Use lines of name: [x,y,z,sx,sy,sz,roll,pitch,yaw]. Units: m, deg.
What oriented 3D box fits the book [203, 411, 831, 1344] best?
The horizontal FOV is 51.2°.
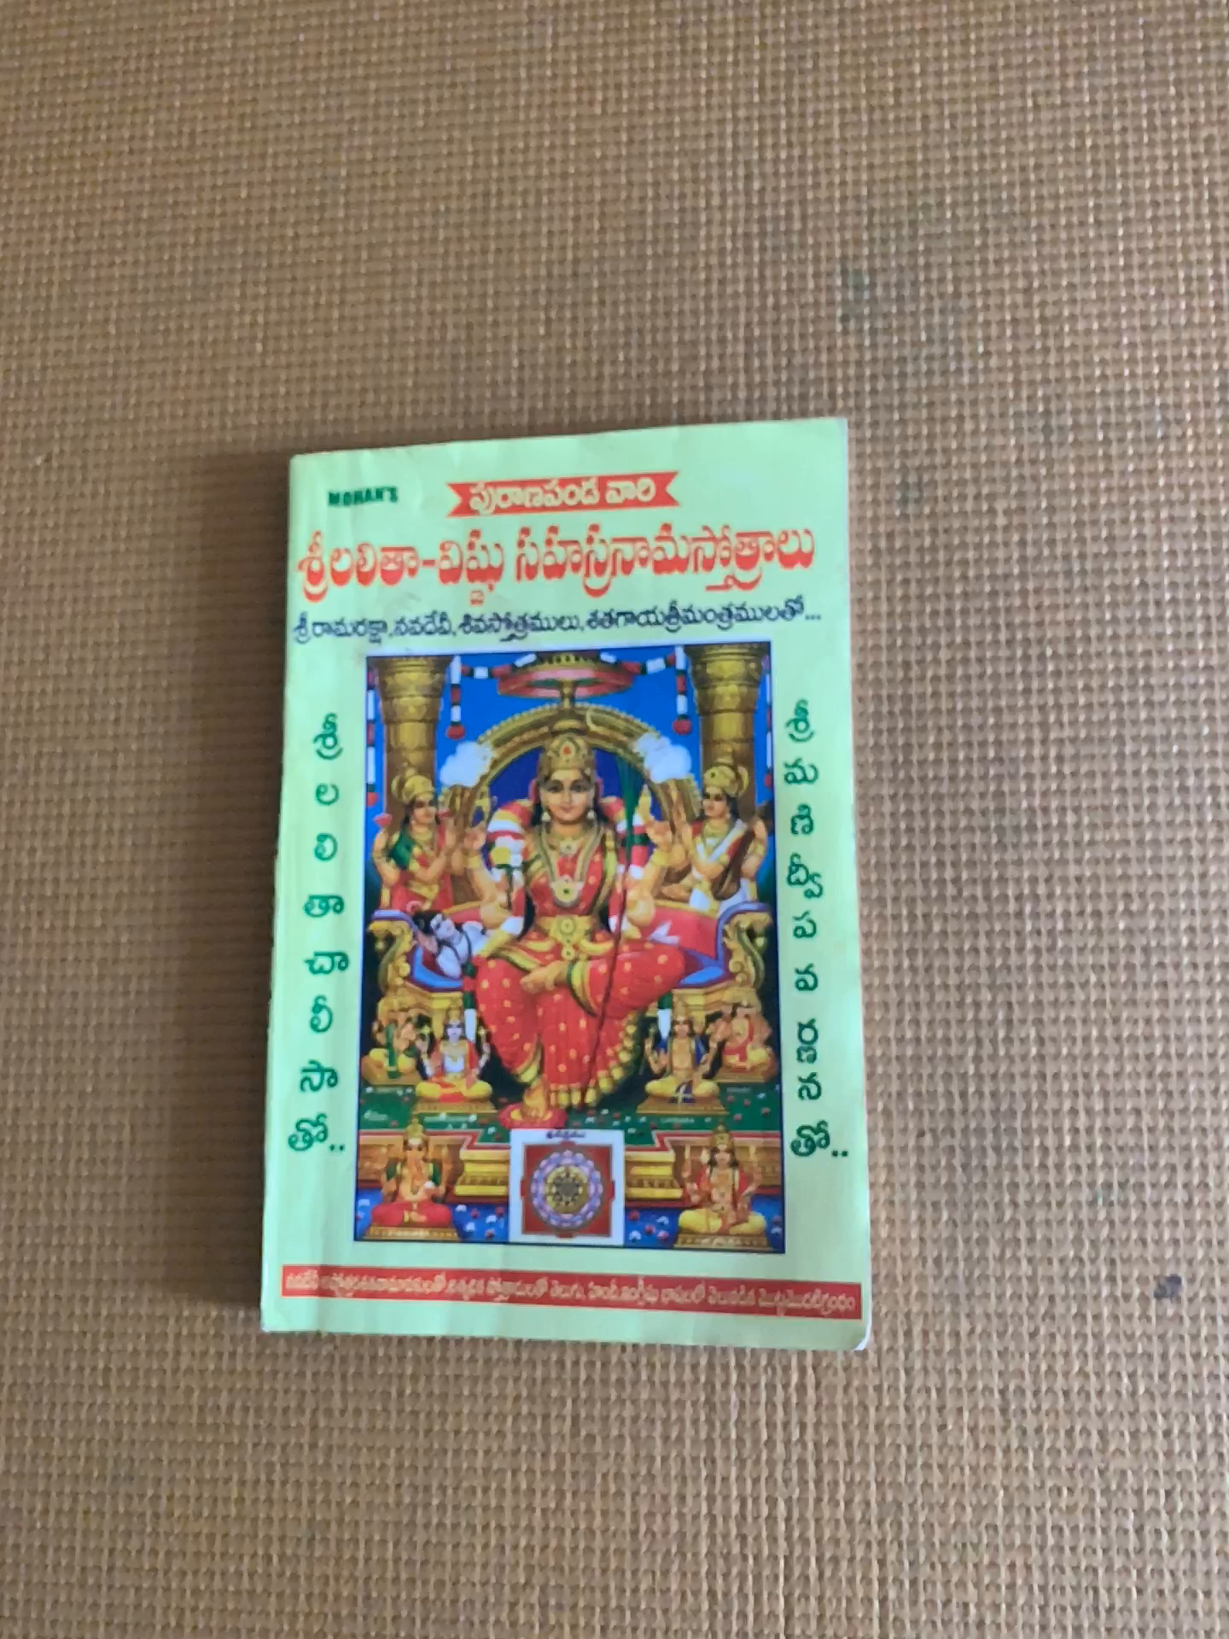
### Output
book: [-0.023,0.011,0.306,0.140,0.020,0.210,-2,82,7]
